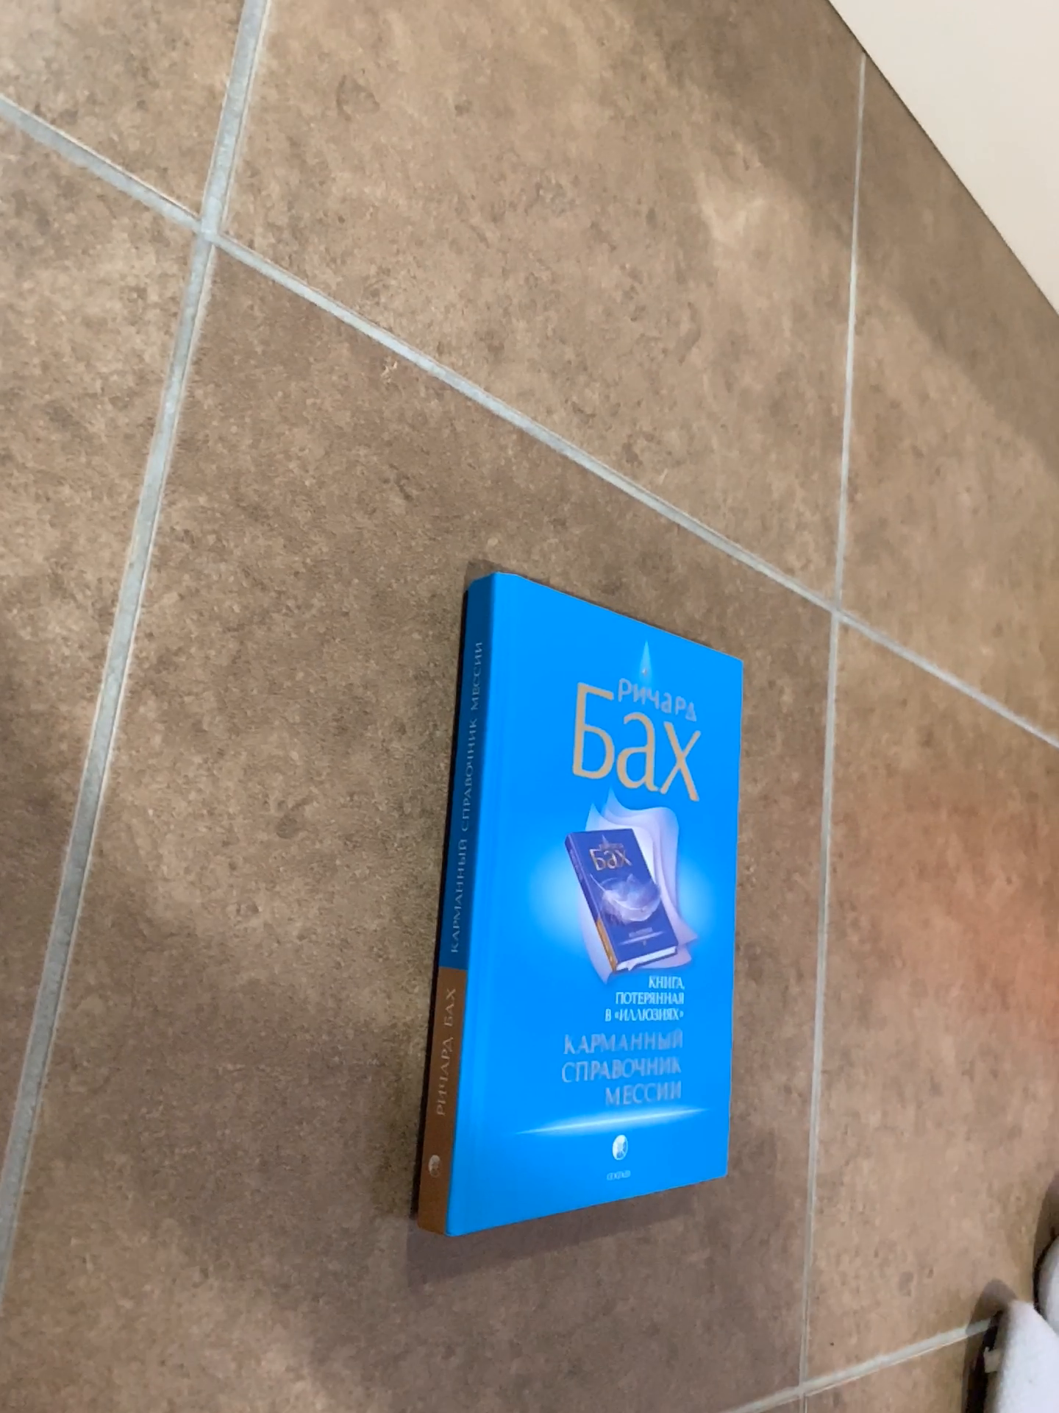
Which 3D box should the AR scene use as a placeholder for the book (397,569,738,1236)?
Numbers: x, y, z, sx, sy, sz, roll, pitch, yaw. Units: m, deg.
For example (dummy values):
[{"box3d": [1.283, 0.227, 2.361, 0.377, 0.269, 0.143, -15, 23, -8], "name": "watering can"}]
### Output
[{"box3d": [0.020, 0.057, 0.328, 0.123, 0.015, 0.169, 15, 74, -44], "name": "book"}]
